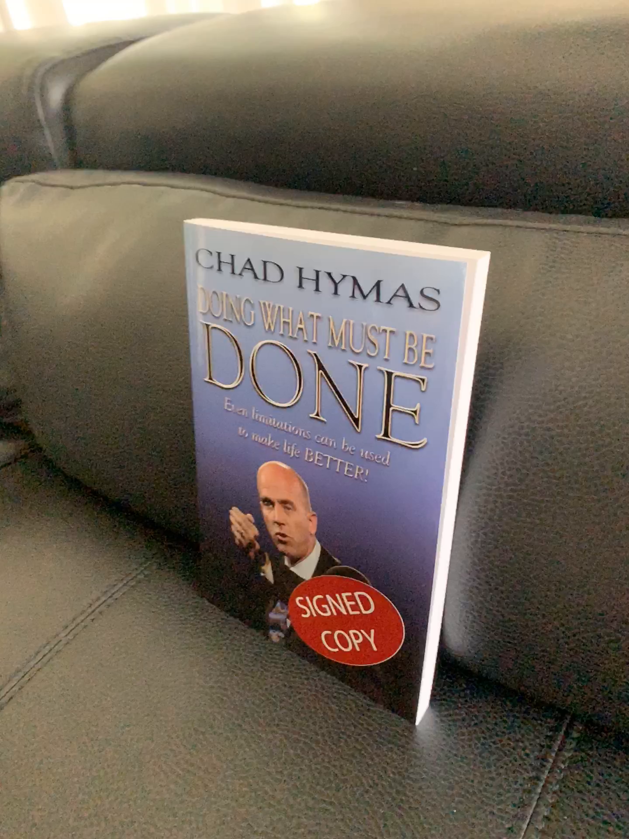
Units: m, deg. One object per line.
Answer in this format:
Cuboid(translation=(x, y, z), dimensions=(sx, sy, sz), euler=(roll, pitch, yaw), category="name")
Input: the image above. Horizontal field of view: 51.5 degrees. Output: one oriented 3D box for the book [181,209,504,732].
Cuboid(translation=(-0.002, 0.021, 0.325), dimensions=(0.157, 0.225, 0.025), euler=(20, 27, 35), category="book")
